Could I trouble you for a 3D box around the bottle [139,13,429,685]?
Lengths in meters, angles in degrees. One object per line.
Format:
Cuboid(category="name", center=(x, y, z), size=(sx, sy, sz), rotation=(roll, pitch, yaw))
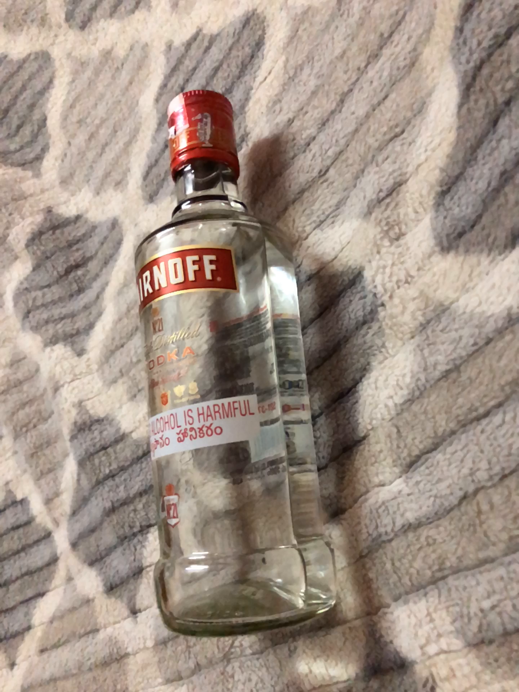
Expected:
Cuboid(category="bottle", center=(0.002, -0.004, 0.234), size=(0.070, 0.060, 0.230), rotation=(-20, 69, 40))
